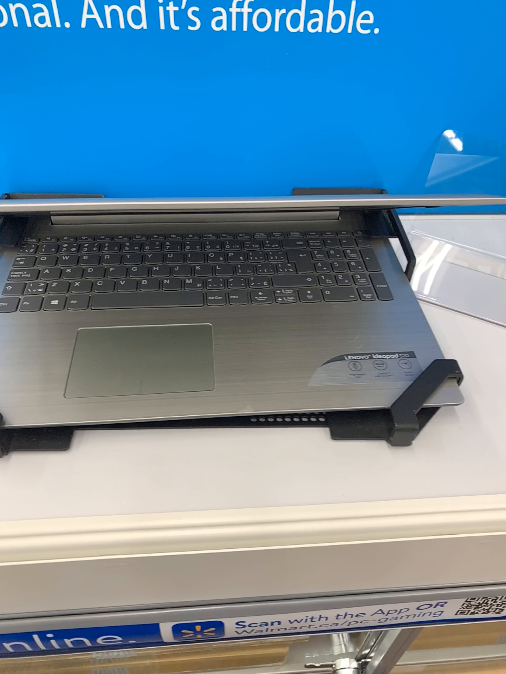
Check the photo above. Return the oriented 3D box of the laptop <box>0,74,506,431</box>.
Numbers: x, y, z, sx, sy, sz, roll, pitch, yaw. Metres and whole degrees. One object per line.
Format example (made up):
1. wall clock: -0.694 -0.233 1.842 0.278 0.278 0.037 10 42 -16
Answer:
1. laptop: -0.035 -0.076 0.354 0.326 0.115 0.230 -2 45 -5
